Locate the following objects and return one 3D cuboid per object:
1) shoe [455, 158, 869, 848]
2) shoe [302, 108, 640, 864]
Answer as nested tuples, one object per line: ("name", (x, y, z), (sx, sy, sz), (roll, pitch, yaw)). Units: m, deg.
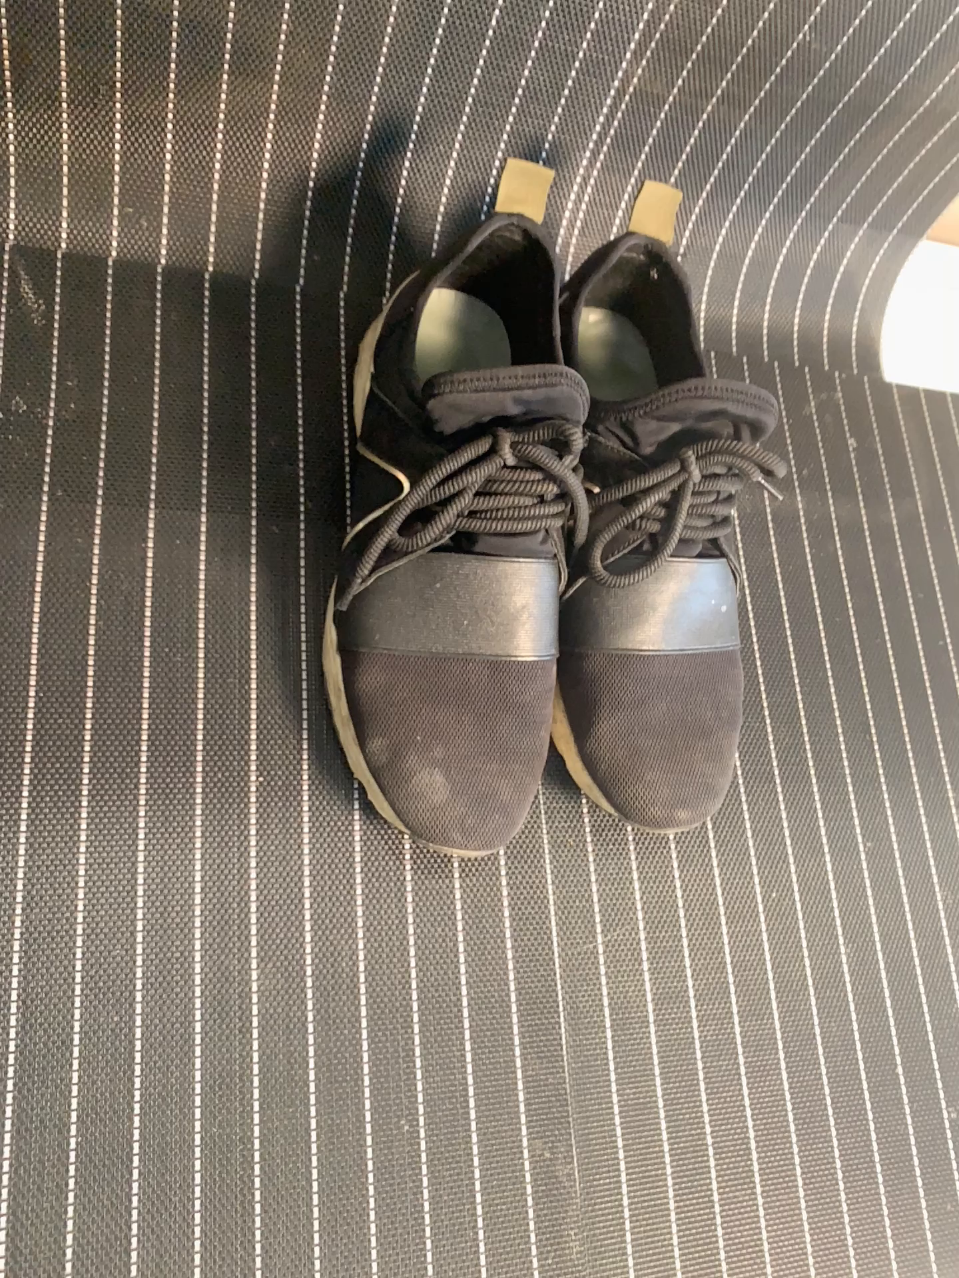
("shoe", (0.069, -0.059, 0.441), (0.100, 0.090, 0.280), (-2, 74, -21))
("shoe", (-0.012, -0.057, 0.394), (0.100, 0.080, 0.280), (4, 72, -19))
